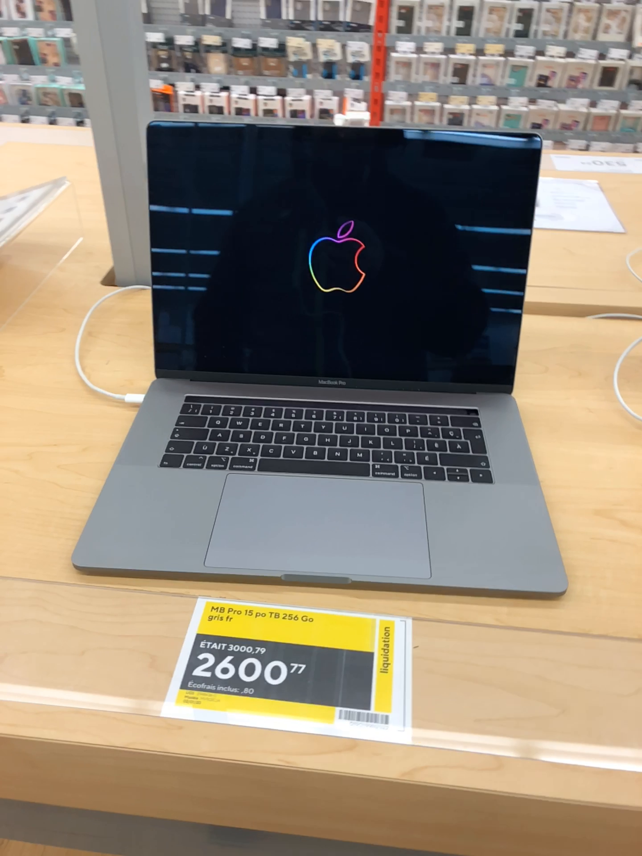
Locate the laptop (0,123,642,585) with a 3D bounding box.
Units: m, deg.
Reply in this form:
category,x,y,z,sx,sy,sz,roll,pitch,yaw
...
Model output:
category,x,y,z,sx,sy,sz,roll,pitch,yaw
laptop,0.009,-0.074,0.532,0.329,0.212,0.299,2,37,1
